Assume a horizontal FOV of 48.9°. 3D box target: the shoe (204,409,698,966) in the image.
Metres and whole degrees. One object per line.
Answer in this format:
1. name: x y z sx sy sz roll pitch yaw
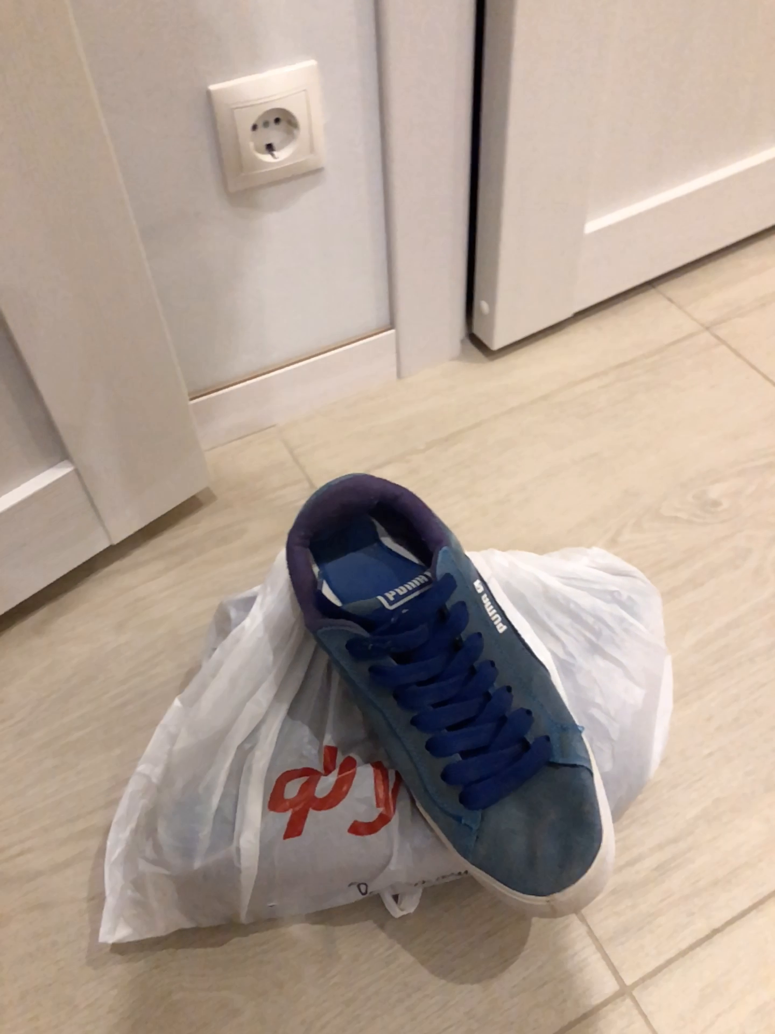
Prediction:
1. shoe: 0.021 0.082 0.499 0.110 0.099 0.301 -33 56 -13
